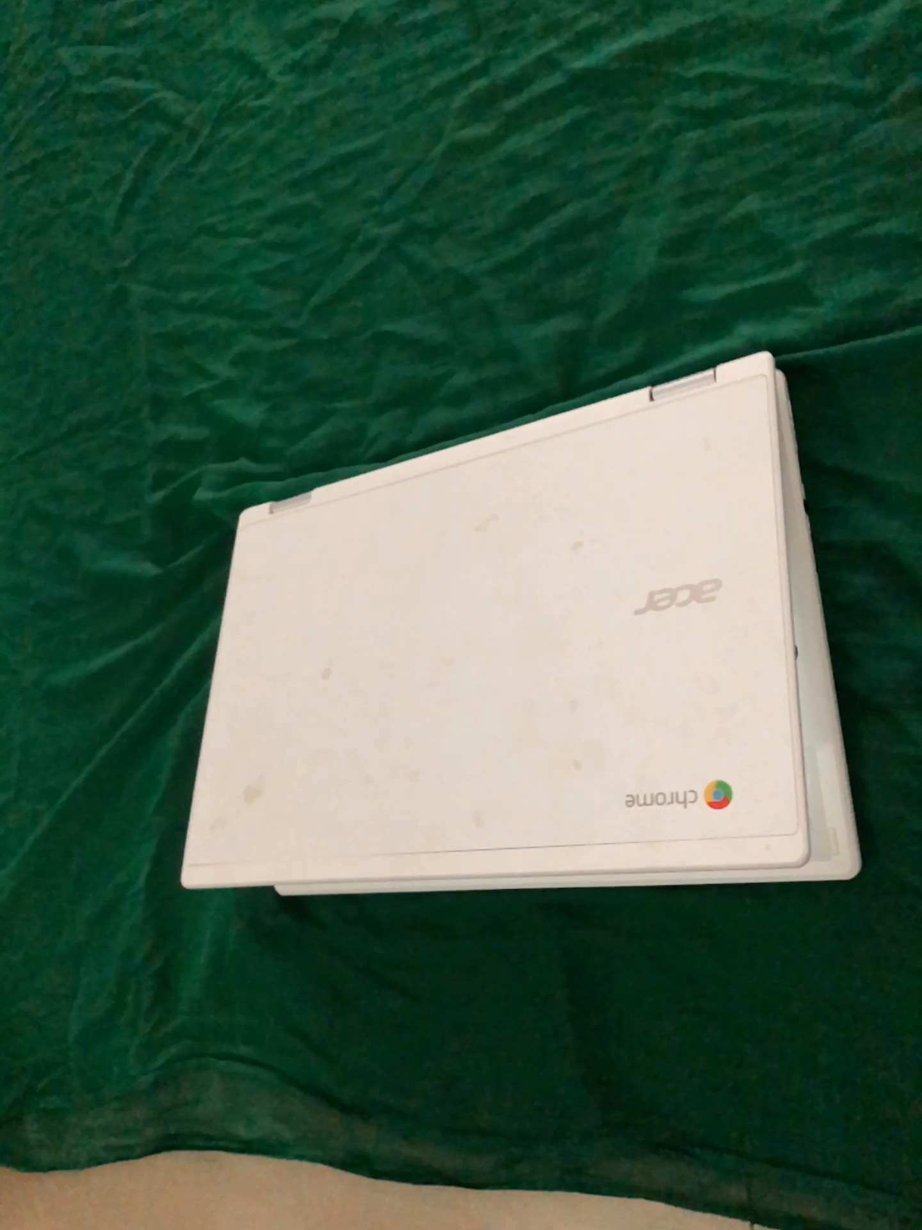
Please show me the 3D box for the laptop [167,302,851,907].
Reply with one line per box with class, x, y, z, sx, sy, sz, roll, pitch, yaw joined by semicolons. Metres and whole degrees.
laptop;-0.001;0.016;0.430;0.282;0.065;0.193;-11;79;32
